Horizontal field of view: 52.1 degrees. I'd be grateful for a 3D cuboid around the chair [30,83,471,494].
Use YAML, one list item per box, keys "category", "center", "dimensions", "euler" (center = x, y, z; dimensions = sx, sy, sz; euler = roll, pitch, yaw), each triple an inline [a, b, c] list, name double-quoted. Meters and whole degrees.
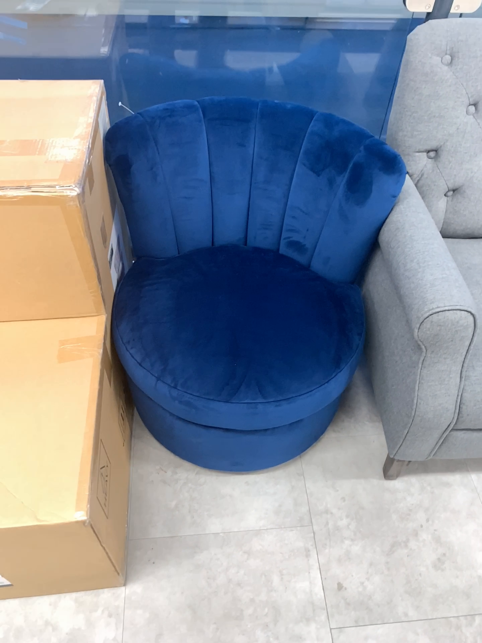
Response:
- category: "chair"
  center: [0.018, -0.066, 1.187]
  dimensions: [0.640, 0.674, 0.666]
  euler: [4, 49, 0]
